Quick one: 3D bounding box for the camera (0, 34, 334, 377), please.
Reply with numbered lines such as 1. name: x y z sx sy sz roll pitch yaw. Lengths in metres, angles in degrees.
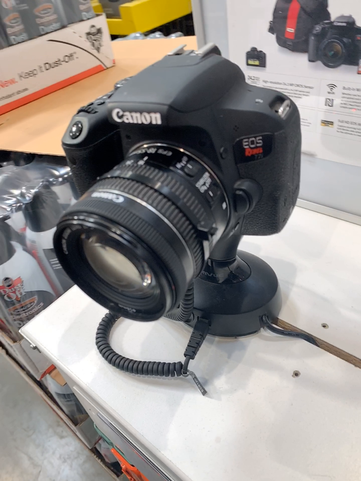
1. camera: -0.013 -0.033 0.184 0.134 0.089 0.121 14 46 27
